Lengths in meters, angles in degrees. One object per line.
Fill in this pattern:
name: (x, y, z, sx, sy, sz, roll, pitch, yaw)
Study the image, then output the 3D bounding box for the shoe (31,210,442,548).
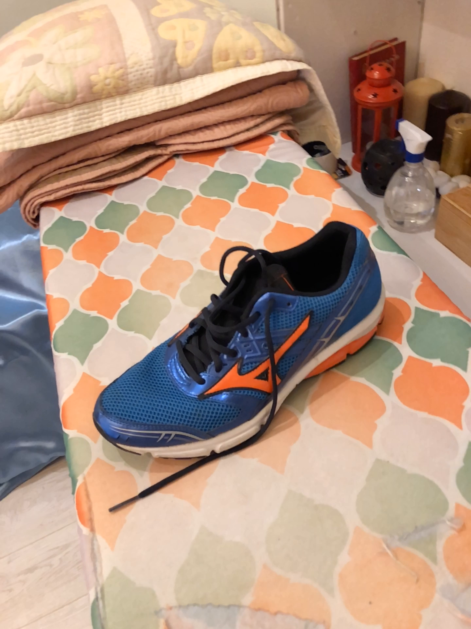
shoe: (0.008, 0.044, 0.447, 0.310, 0.109, 0.121, -27, 48, -14)
